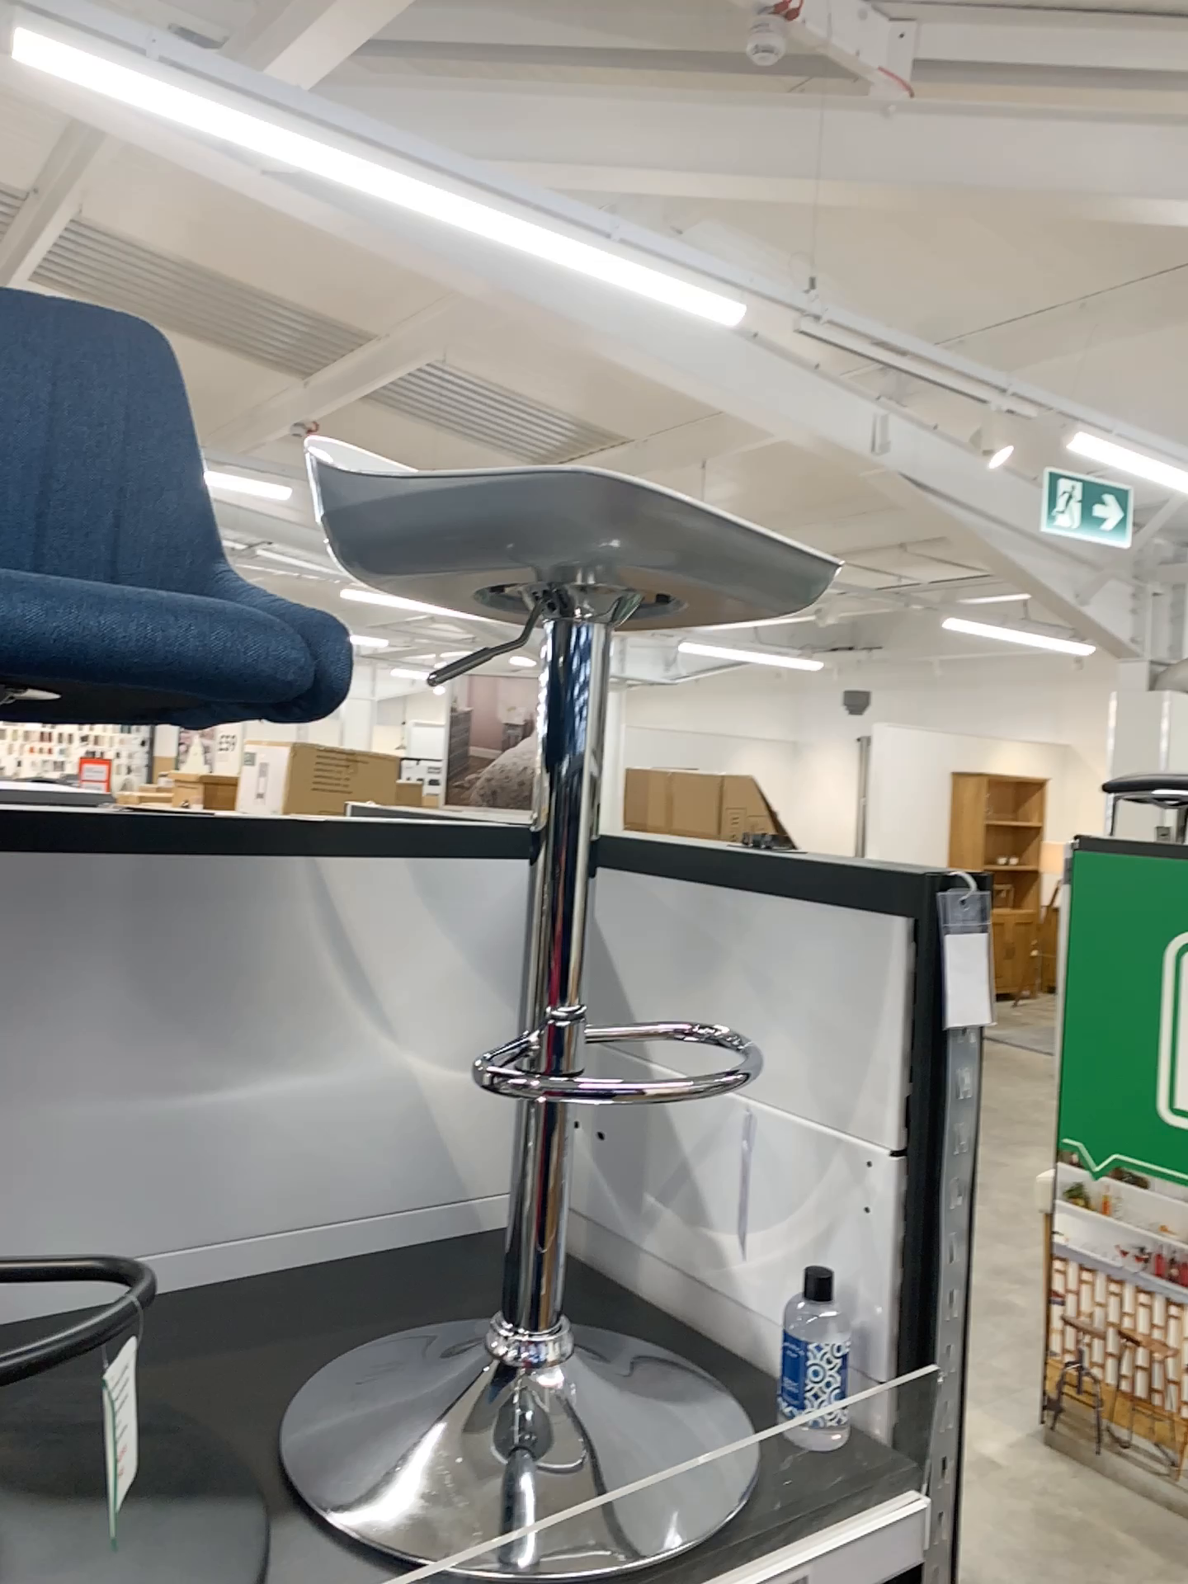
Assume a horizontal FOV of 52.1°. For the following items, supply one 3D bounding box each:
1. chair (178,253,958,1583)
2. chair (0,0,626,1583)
[{"bbox_3d":[-0.017,0.093,0.967,0.403,0.803,0.402,3,-1,44],"label":"chair"},{"bbox_3d":[-0.367,0.020,0.755,0.532,0.883,0.483,4,-1,-41],"label":"chair"}]
